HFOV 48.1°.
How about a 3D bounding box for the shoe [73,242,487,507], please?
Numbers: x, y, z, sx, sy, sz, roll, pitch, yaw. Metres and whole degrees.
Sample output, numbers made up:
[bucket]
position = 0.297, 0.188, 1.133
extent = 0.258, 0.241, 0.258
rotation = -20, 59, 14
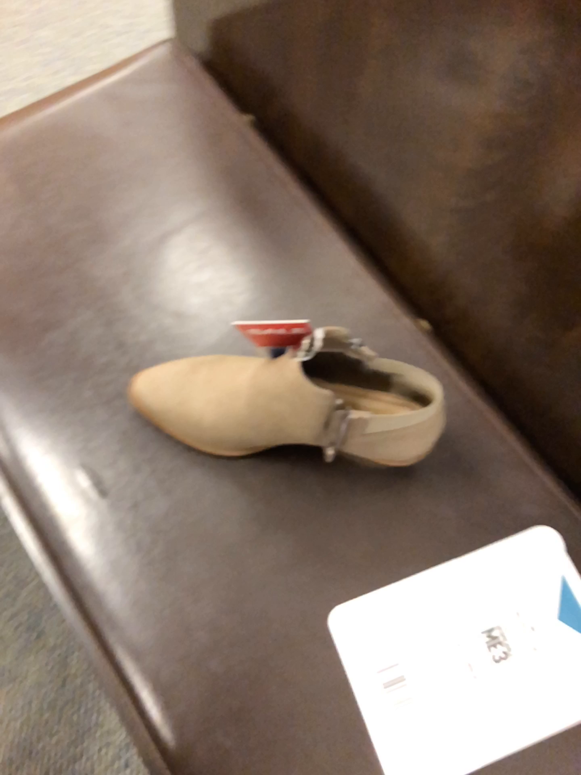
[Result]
[shoe]
position = -0.006, -0.003, 0.493
extent = 0.260, 0.133, 0.097
rotation = 13, 66, 2
